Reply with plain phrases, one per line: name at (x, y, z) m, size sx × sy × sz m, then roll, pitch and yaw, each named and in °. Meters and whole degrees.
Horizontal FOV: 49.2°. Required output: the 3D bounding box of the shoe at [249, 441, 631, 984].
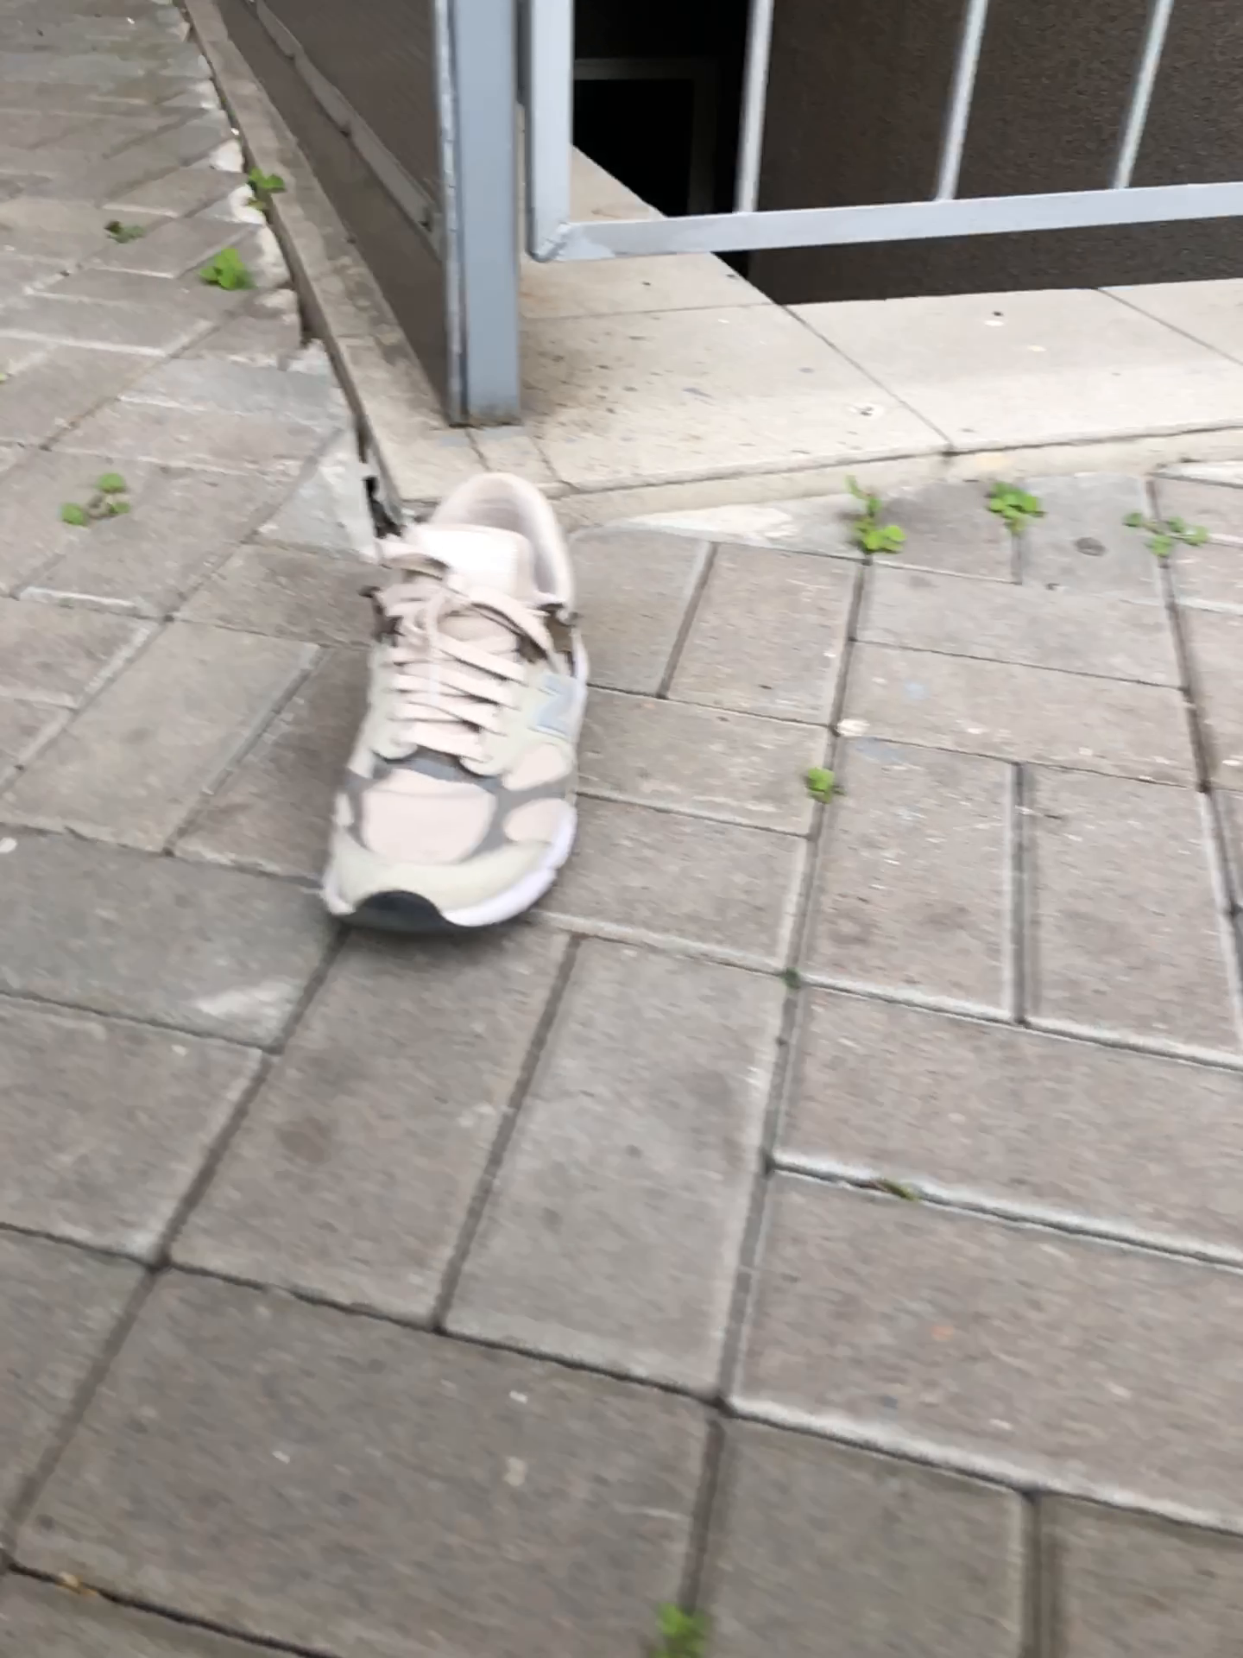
shoe at (-0.068, -0.074, 0.656) m, size 0.120 × 0.109 × 0.302 m, roll 4°, pitch 37°, yaw 3°
